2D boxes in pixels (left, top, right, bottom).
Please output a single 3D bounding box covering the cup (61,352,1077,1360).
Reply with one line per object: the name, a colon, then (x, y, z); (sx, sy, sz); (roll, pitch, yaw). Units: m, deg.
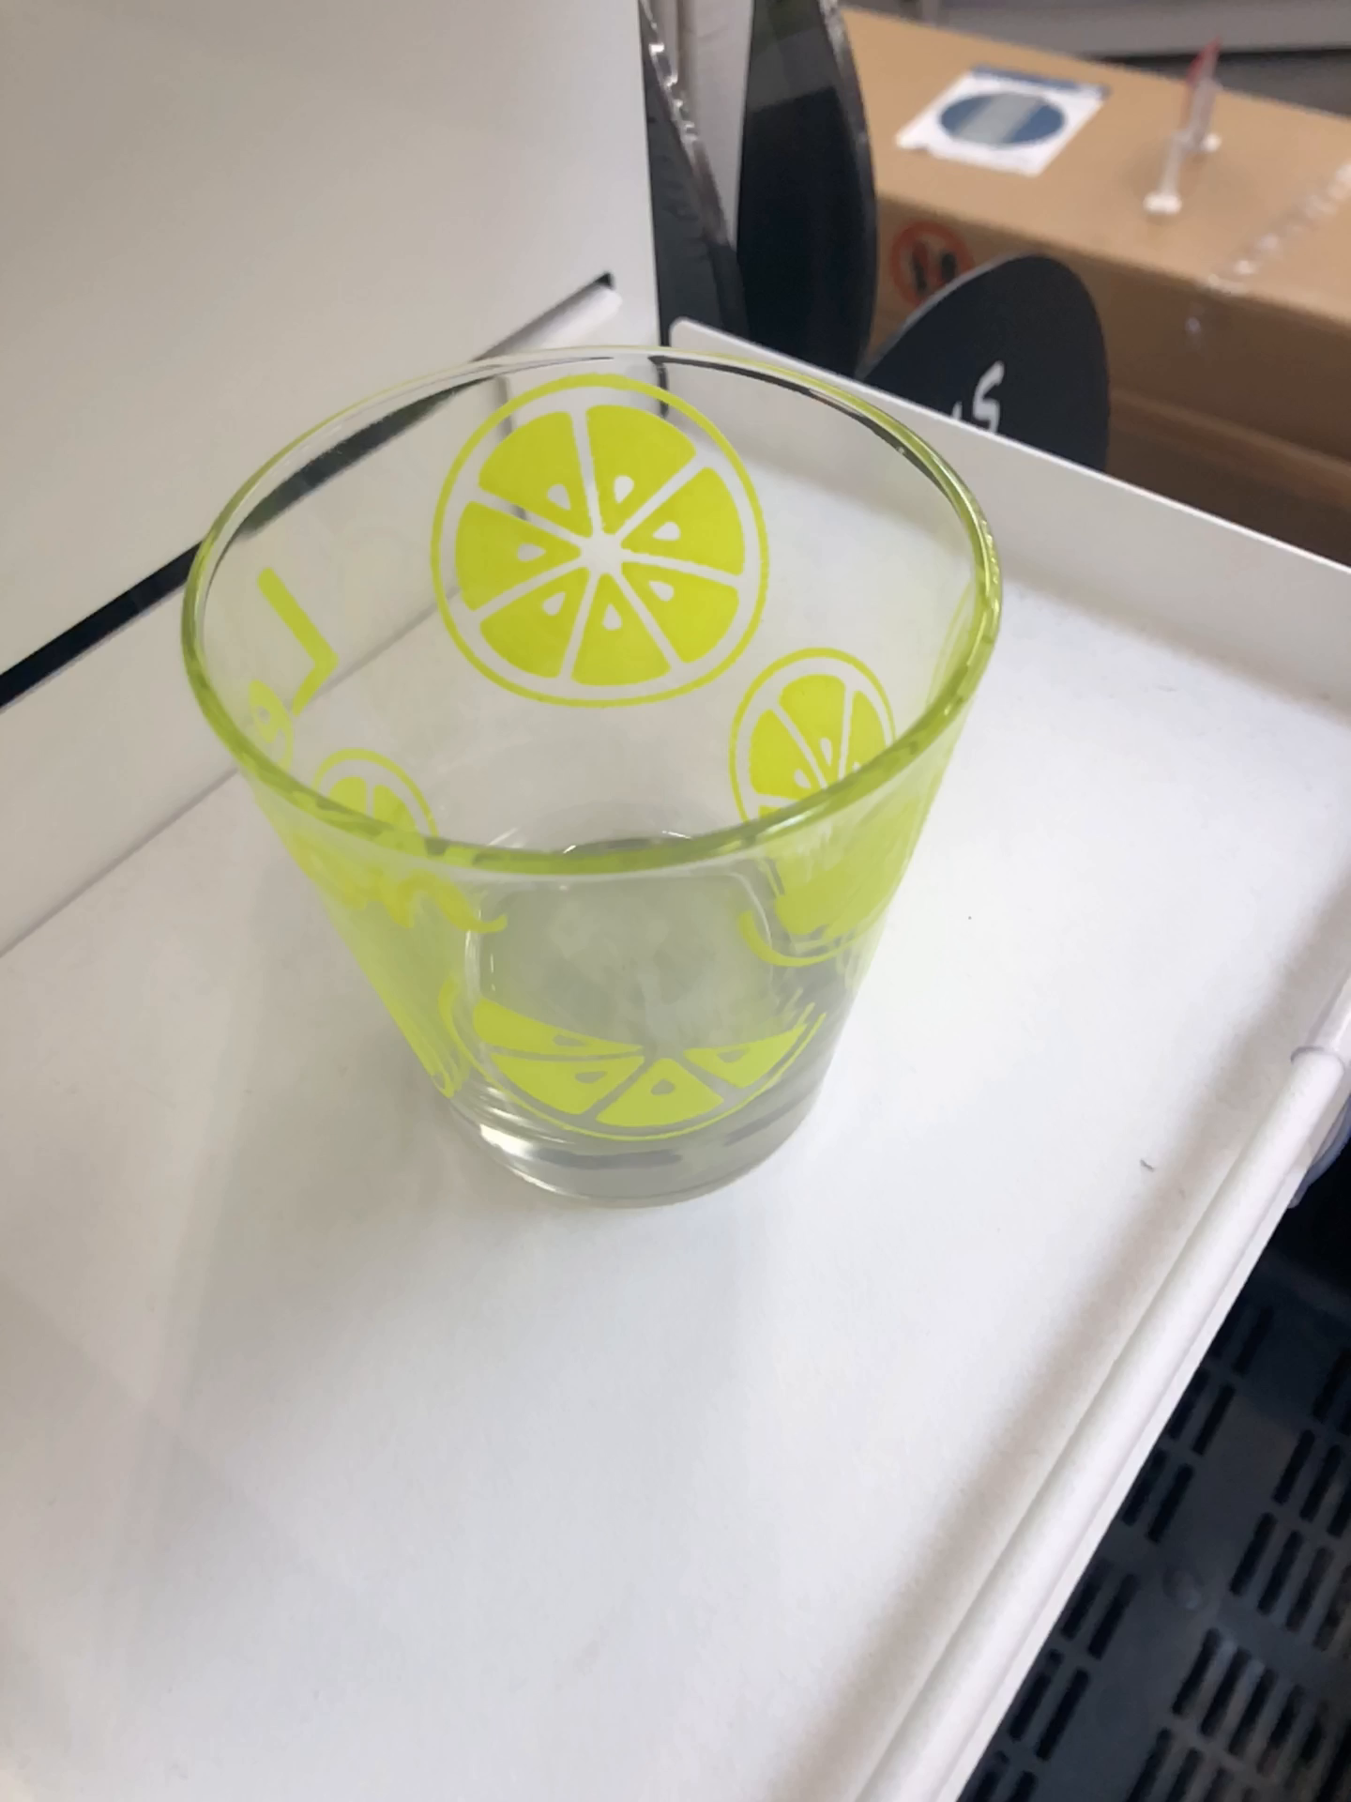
cup: (-0.003, -0.007, 0.178); (0.084, 0.075, 0.080); (-2, 49, 2)
